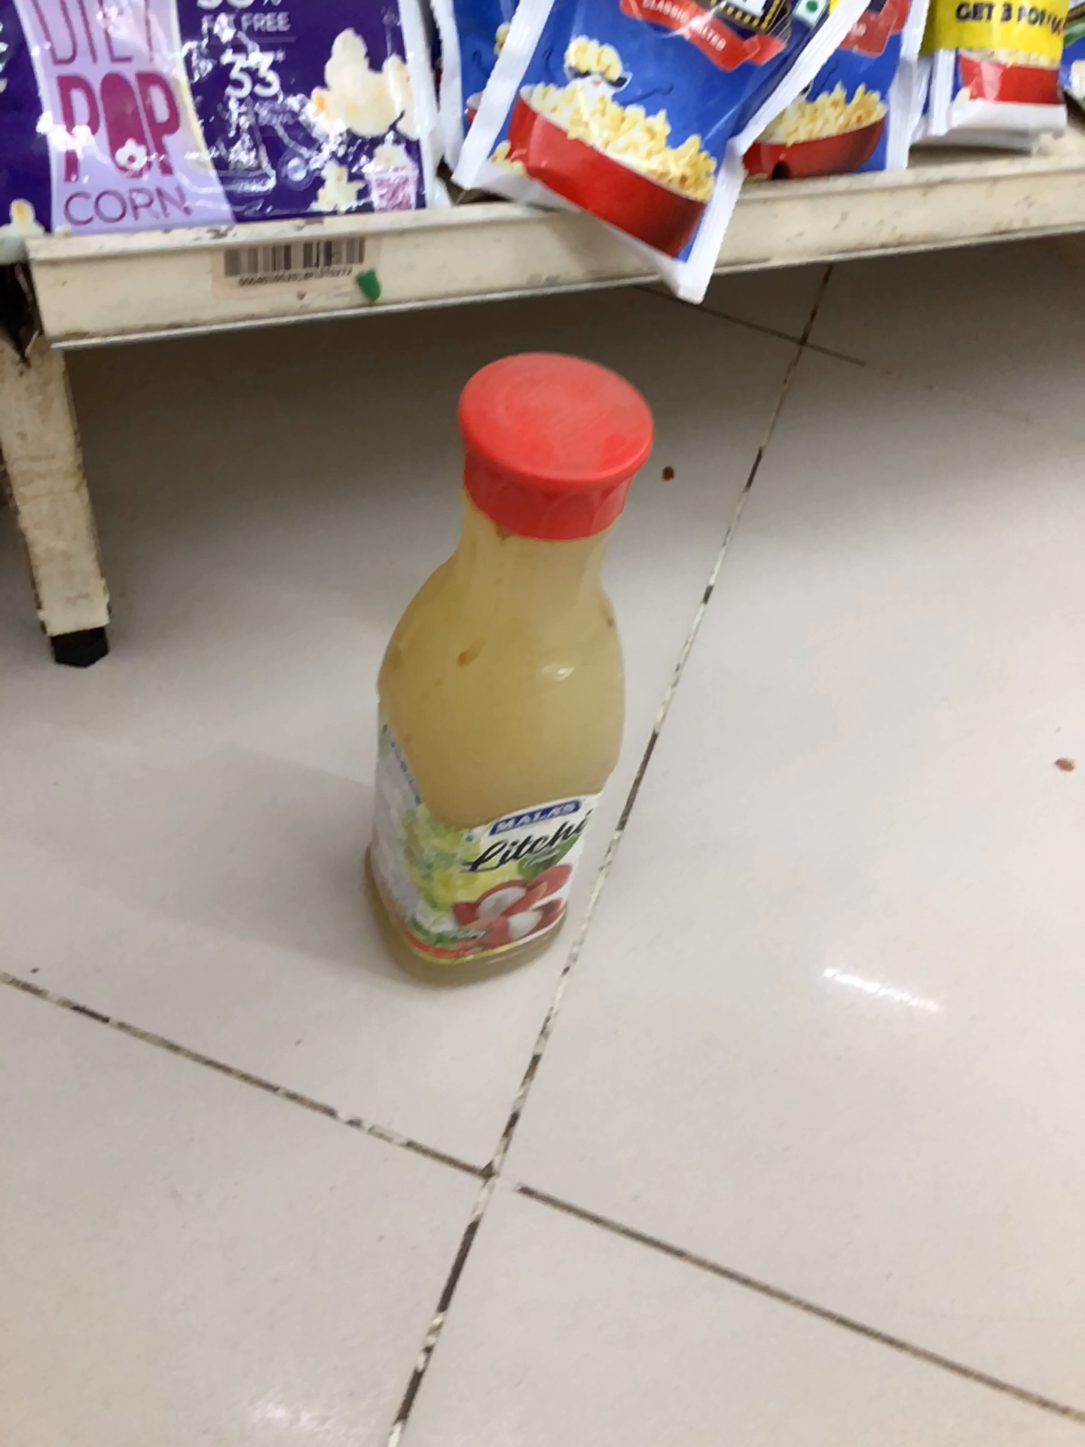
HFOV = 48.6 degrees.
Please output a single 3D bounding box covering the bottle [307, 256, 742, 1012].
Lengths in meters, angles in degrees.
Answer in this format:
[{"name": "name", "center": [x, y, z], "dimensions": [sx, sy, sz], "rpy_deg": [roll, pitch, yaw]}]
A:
[{"name": "bottle", "center": [-0.027, -0.009, 0.437], "dimensions": [0.090, 0.288, 0.090], "rpy_deg": [5, 52, -7]}]
